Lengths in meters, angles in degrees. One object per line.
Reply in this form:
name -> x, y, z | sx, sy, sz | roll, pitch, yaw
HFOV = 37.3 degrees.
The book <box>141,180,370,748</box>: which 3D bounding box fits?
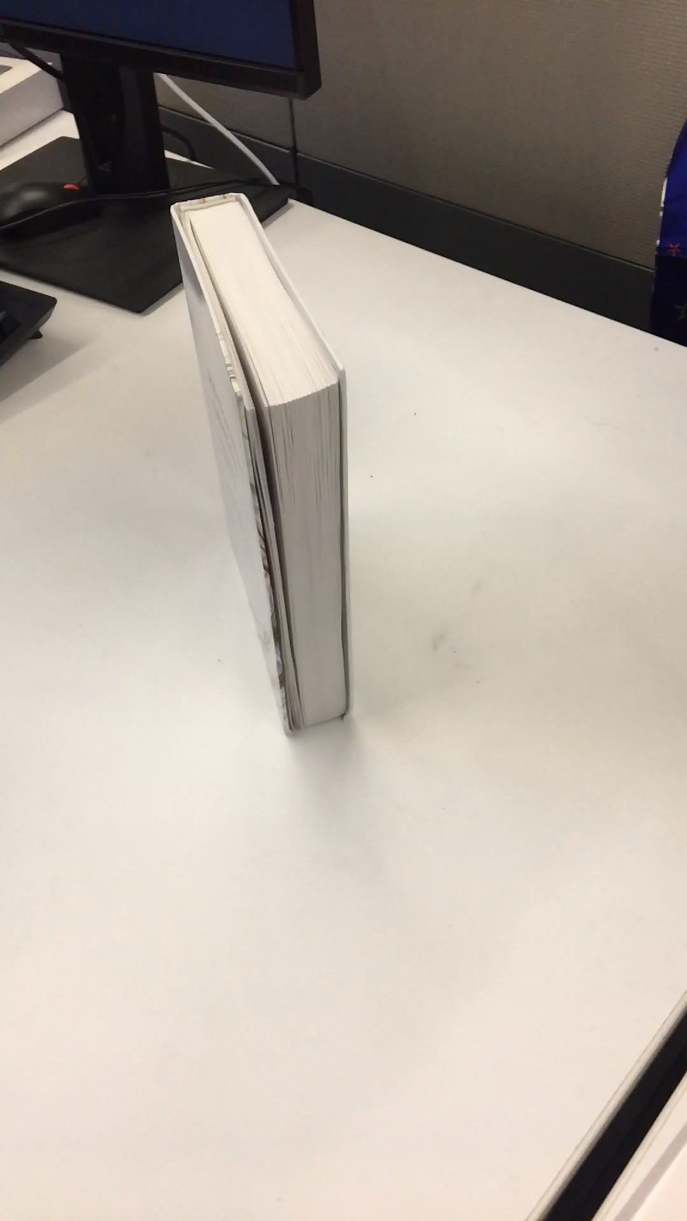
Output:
book -> -0.043, -0.071, 0.536 | 0.050, 0.230, 0.180 | -15, 48, -9
